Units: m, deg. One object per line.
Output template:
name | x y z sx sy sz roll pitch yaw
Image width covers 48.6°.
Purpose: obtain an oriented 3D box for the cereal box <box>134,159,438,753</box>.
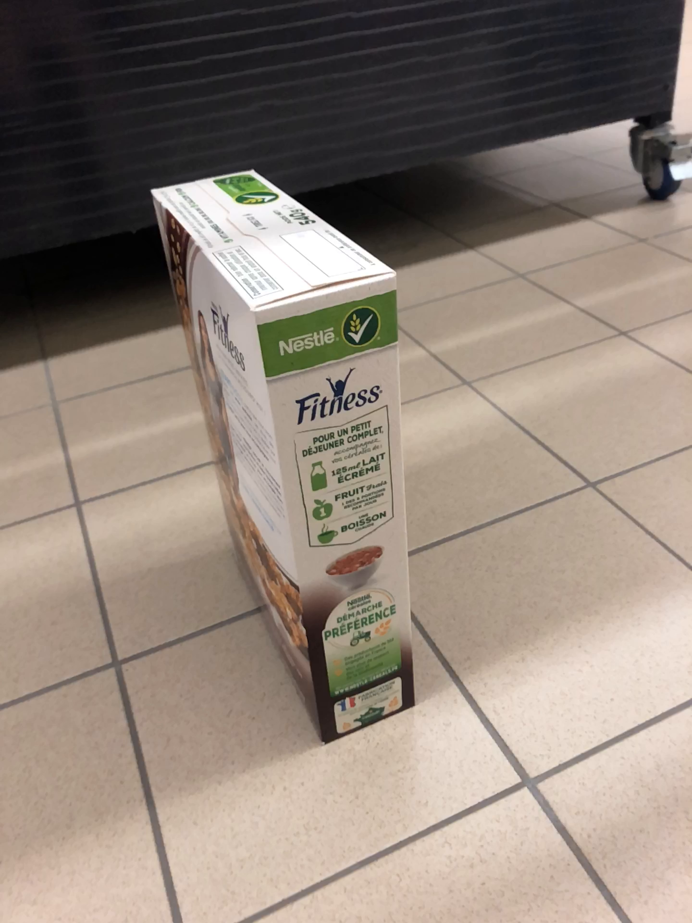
cereal box | -0.033 -0.007 0.460 0.080 0.278 0.211 -18 37 -17
